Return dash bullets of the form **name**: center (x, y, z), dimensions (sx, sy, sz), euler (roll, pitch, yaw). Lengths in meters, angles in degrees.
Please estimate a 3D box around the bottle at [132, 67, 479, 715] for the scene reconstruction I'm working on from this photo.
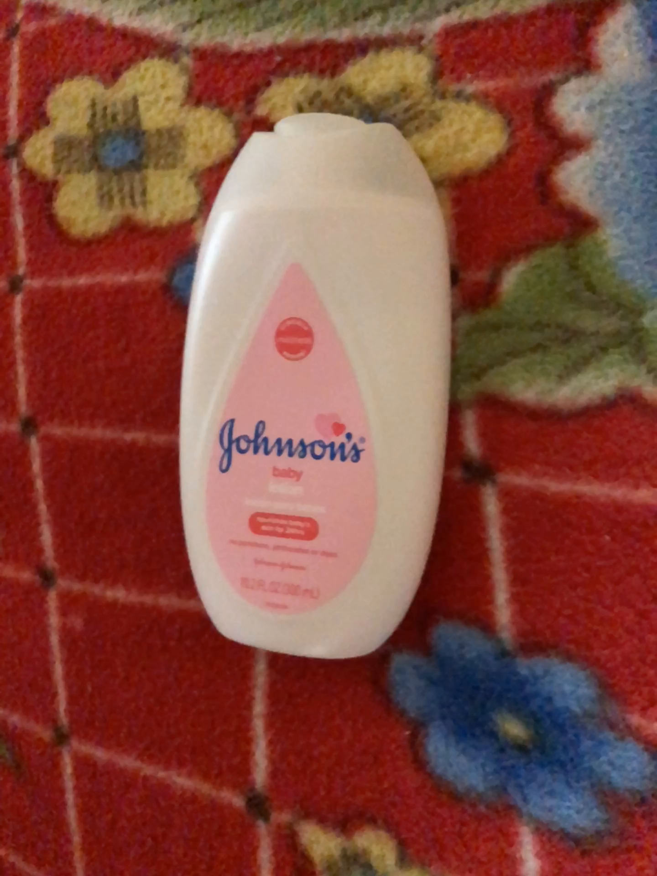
- **bottle**: center (-0.006, -0.016, 0.222), dimensions (0.080, 0.030, 0.170), euler (5, 87, 24)
